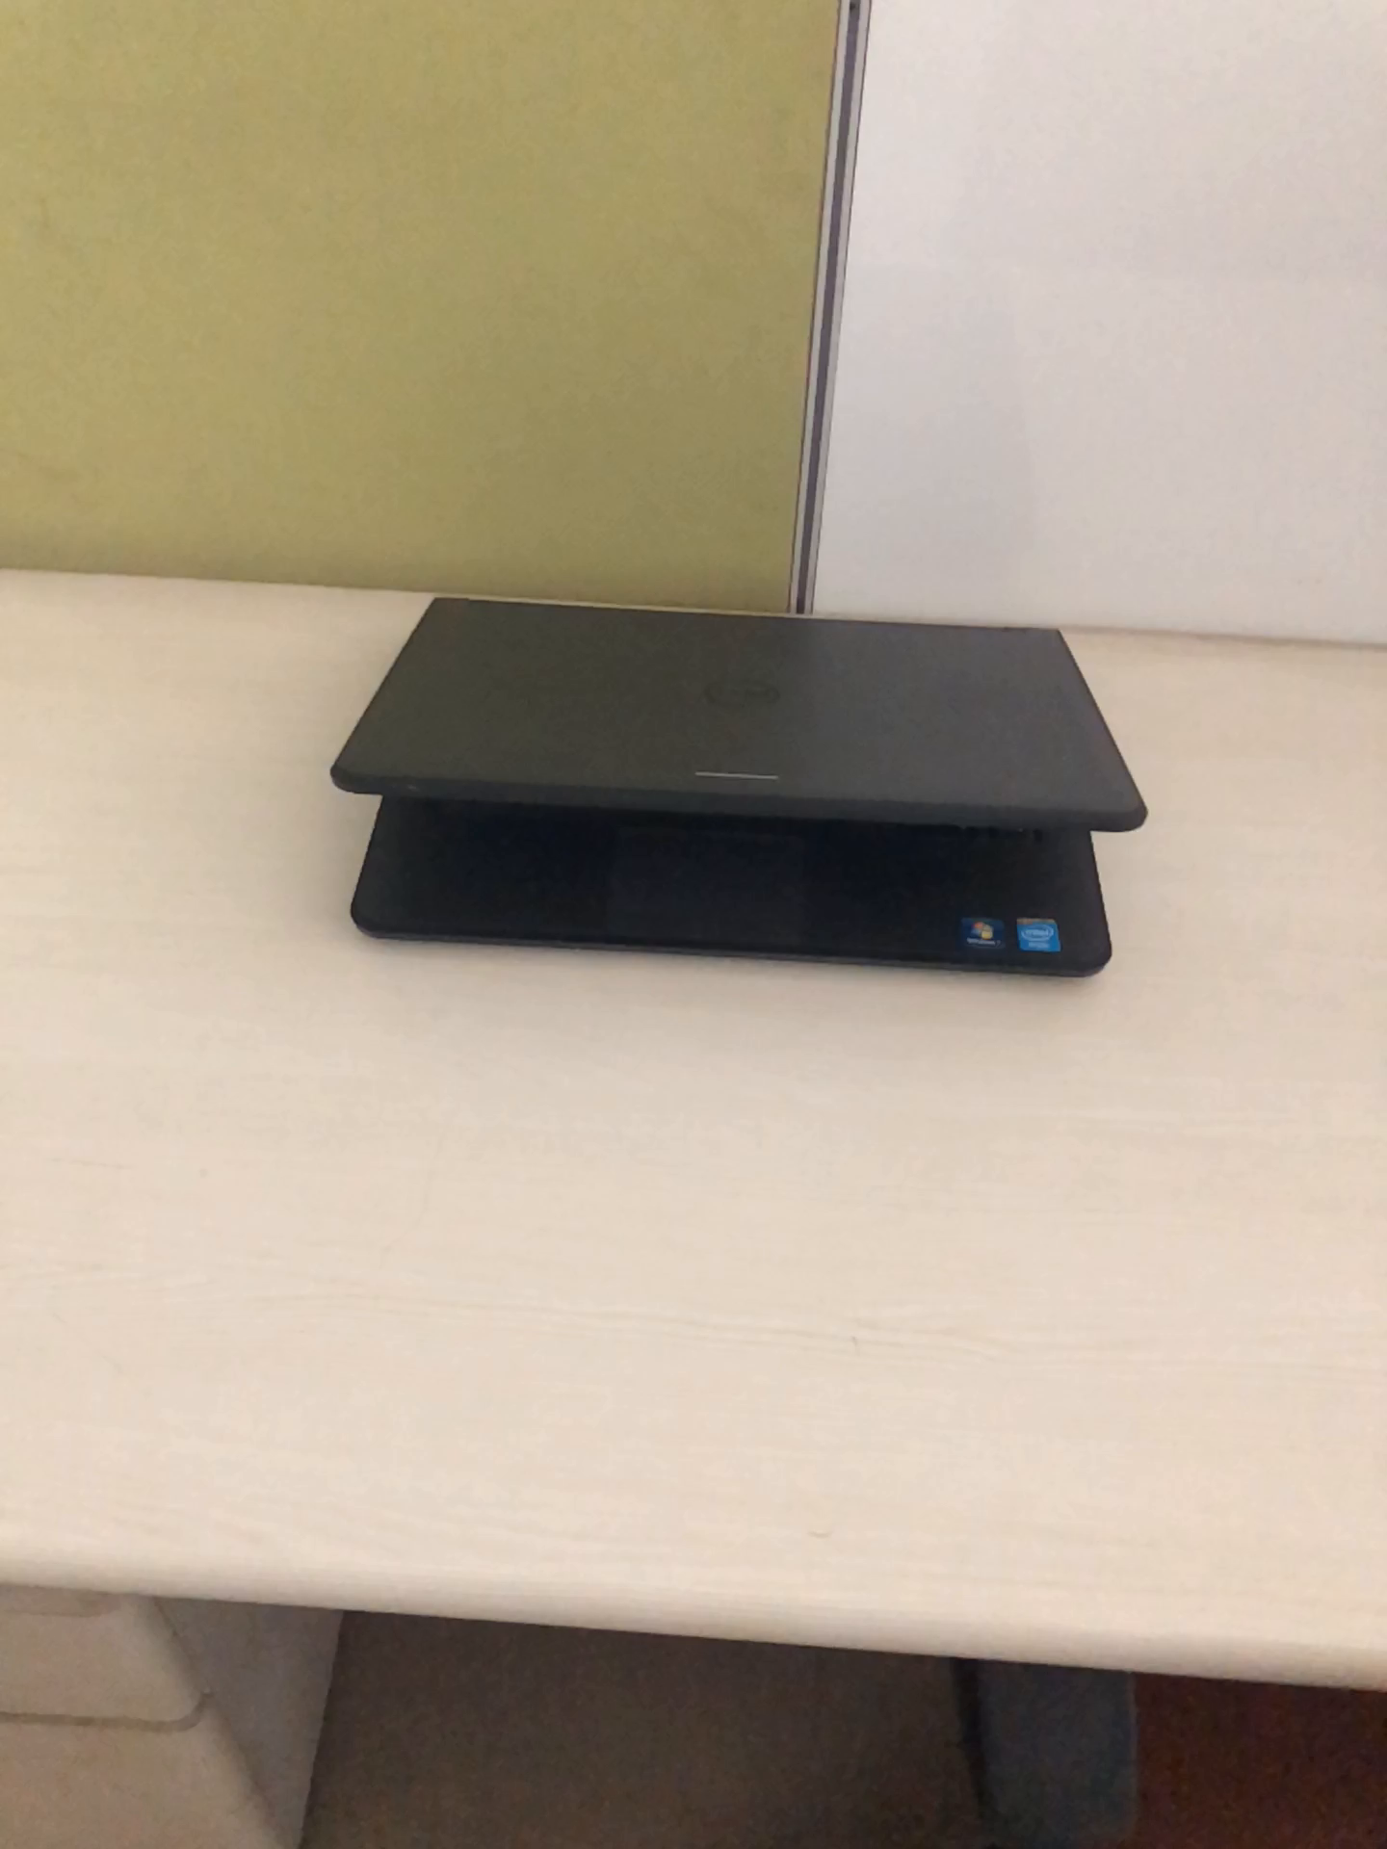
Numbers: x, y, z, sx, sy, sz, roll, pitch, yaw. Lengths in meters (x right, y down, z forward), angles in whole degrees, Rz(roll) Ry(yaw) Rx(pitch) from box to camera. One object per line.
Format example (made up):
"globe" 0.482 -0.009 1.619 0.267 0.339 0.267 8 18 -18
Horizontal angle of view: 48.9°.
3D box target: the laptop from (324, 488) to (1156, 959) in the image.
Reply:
"laptop" 0.022 -0.101 0.697 0.322 0.072 0.230 3 44 1
